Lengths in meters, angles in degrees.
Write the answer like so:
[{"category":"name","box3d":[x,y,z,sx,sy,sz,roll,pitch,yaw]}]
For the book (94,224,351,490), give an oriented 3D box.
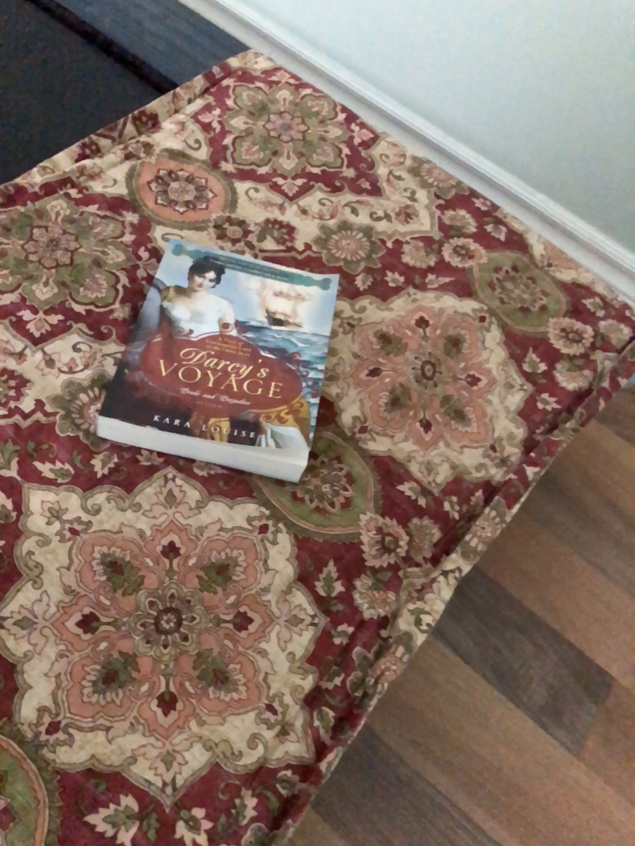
[{"category":"book","box3d":[-0.062,-0.058,0.540,0.154,0.034,0.201,13,53,-6]}]
